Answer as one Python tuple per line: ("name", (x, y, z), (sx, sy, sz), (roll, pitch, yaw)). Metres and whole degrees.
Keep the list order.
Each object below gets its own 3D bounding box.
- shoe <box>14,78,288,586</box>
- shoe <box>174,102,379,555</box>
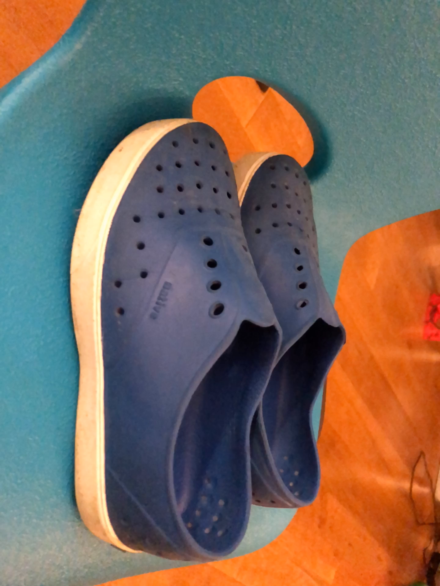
("shoe", (-0.031, 0.019, 0.254), (0.090, 0.080, 0.210), (12, 82, -49))
("shoe", (0.042, 0.020, 0.317), (0.100, 0.070, 0.240), (12, 82, -49))
